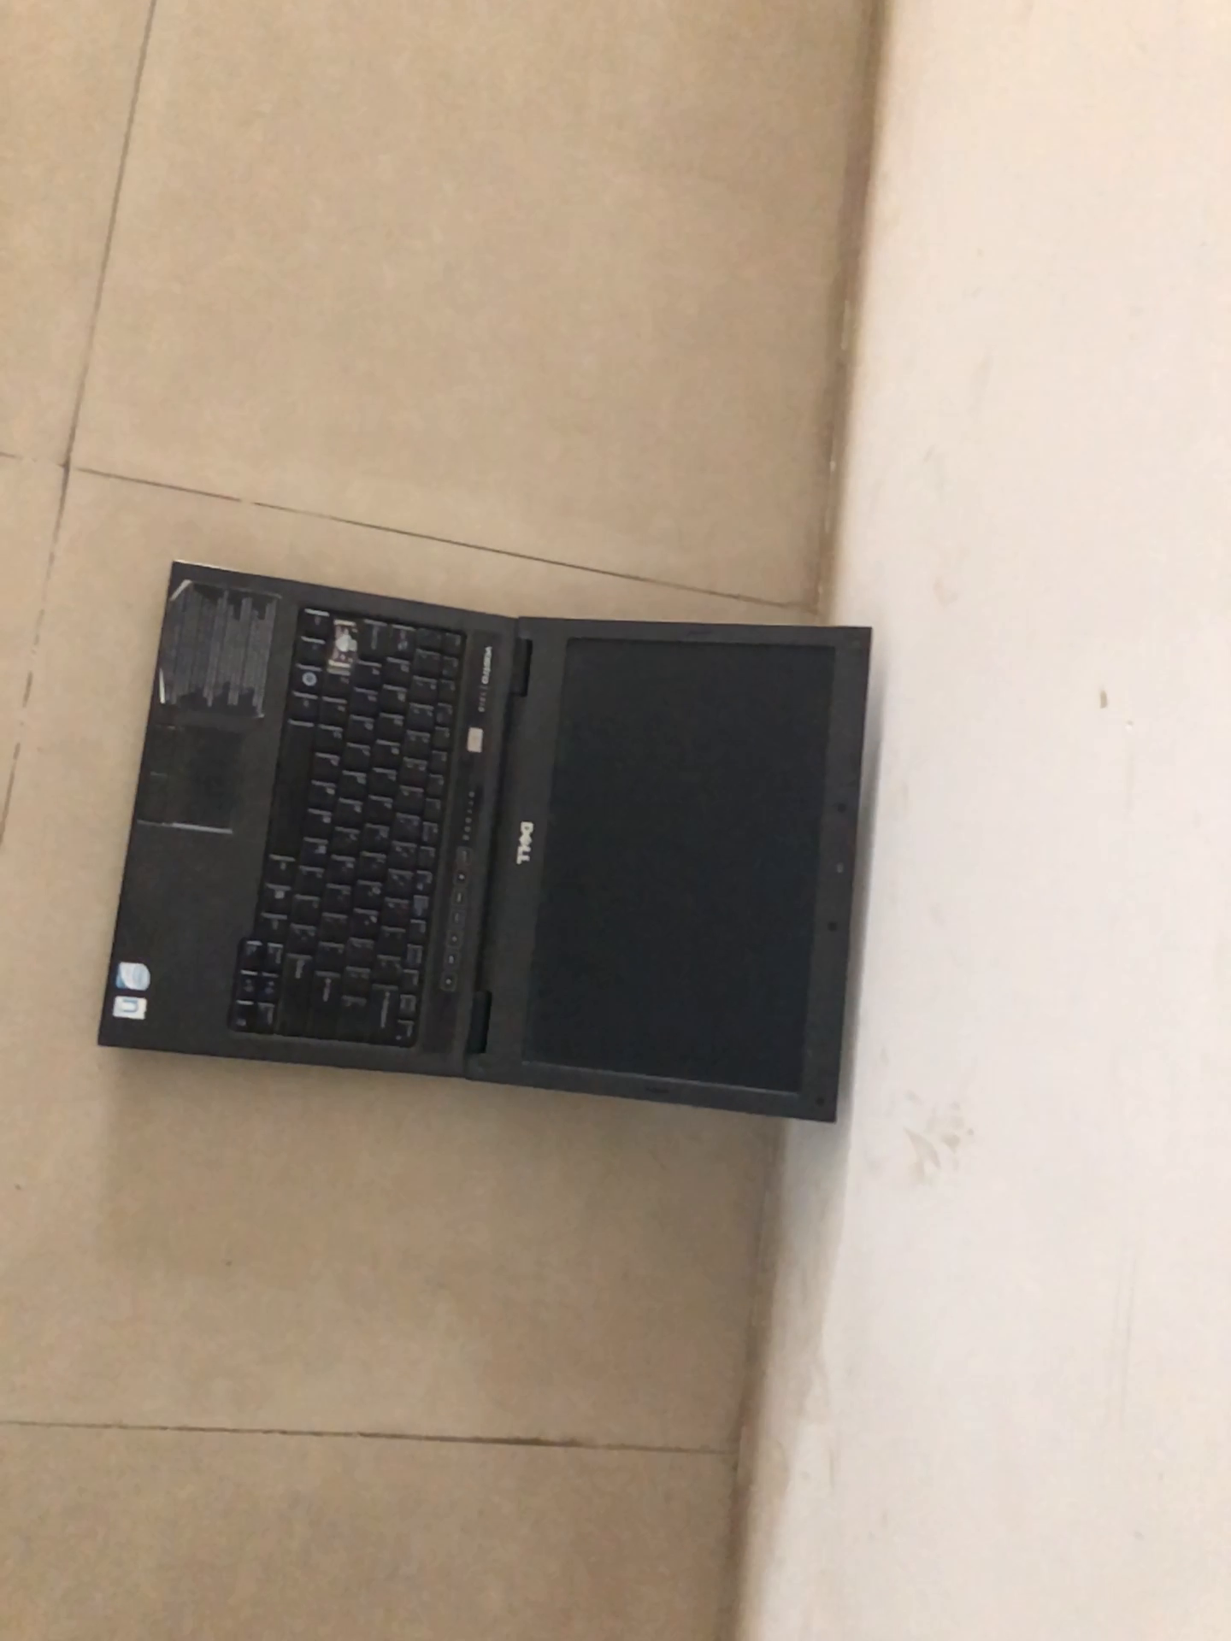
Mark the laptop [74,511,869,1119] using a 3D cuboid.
[{"bbox_3d":[-0.076,0.008,0.843,0.432,0.114,0.299,8,80,-13],"label":"laptop"}]
